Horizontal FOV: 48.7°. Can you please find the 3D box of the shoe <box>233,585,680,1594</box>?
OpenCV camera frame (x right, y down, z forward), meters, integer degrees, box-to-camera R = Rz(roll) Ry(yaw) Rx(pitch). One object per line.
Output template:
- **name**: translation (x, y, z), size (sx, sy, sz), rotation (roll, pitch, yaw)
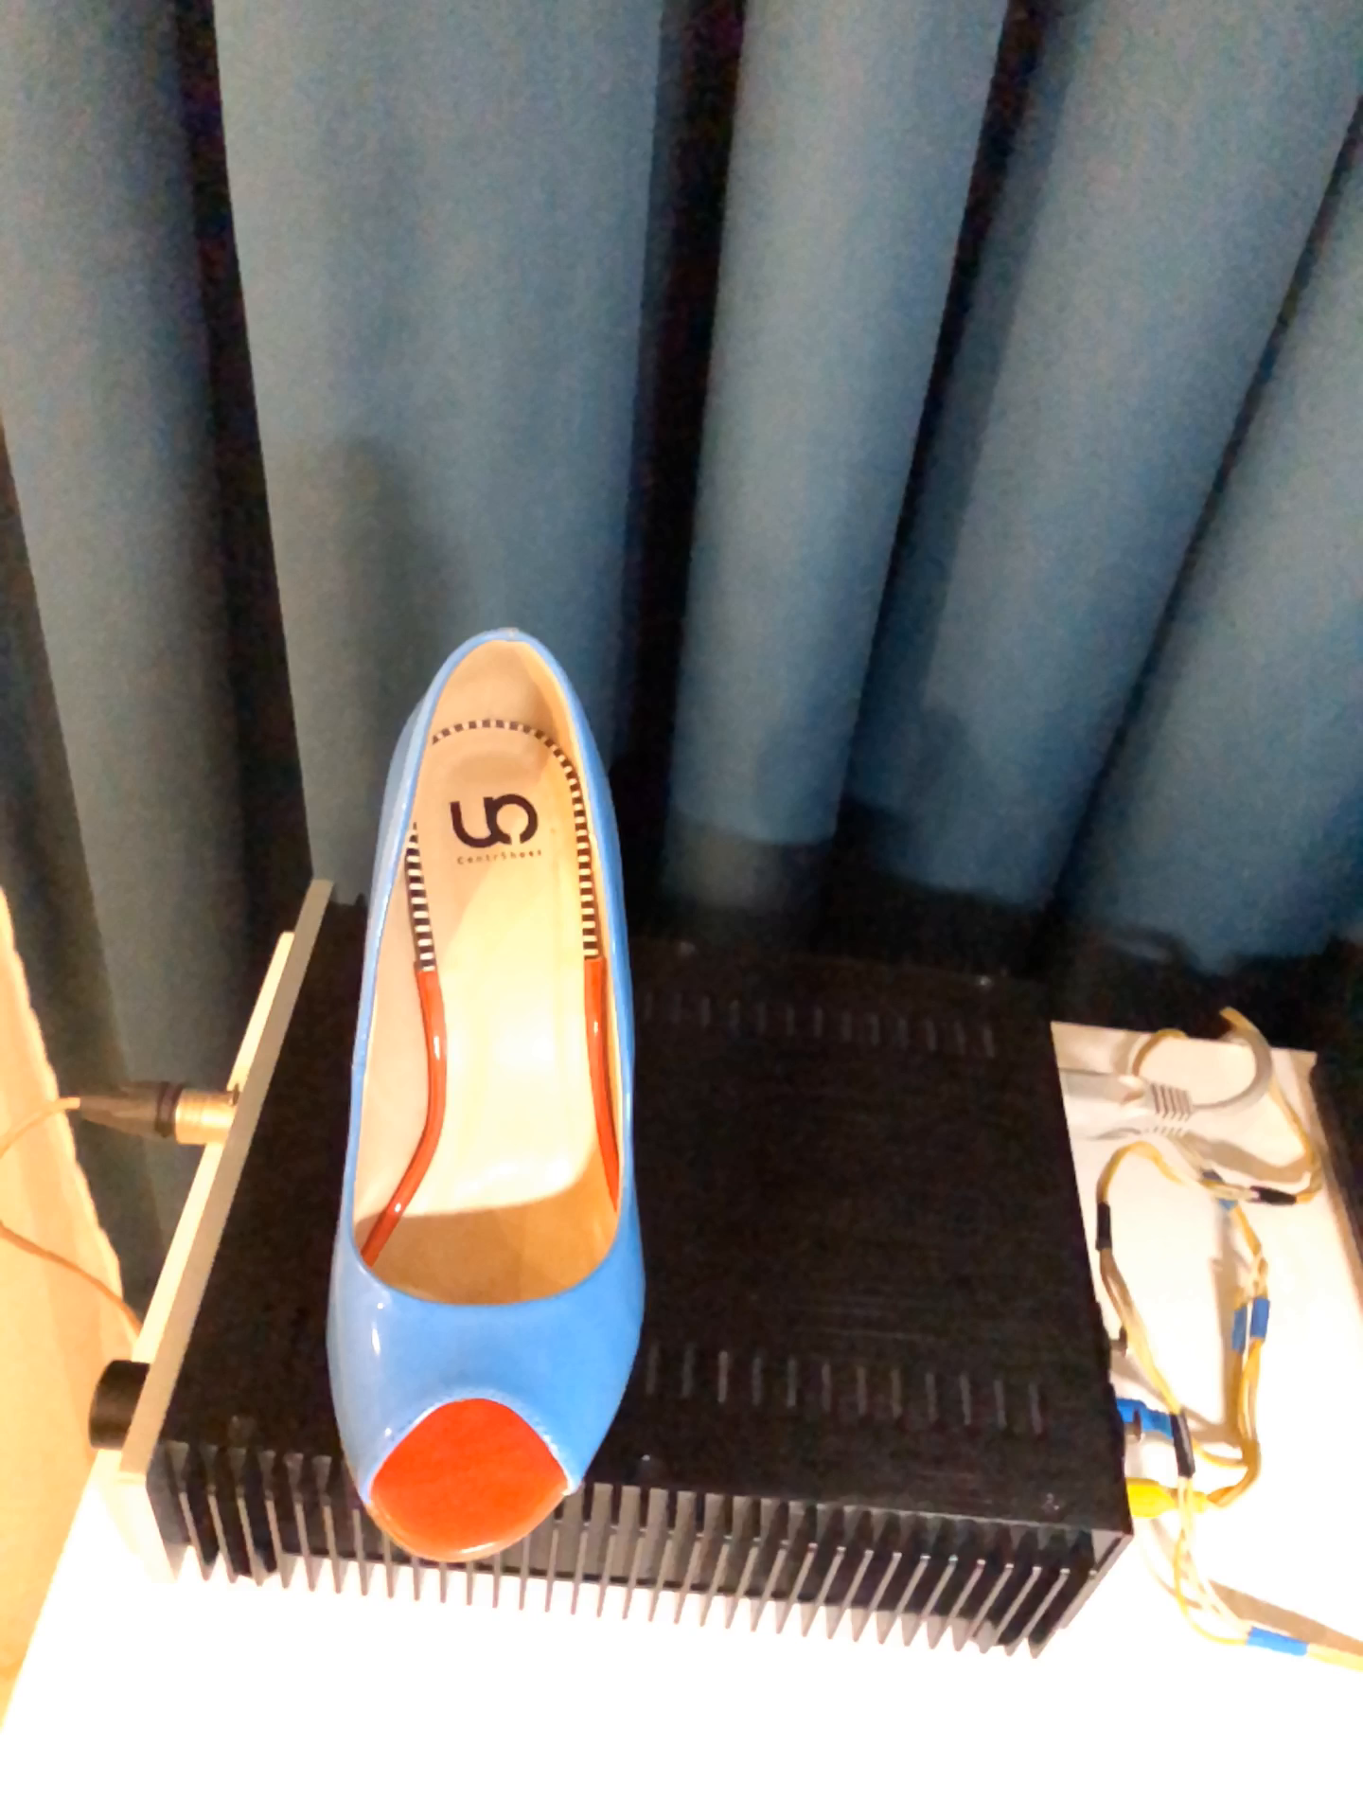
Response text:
- **shoe**: translation (-0.051, 0.040, 0.403), size (0.080, 0.149, 0.222), rotation (3, 44, -5)
